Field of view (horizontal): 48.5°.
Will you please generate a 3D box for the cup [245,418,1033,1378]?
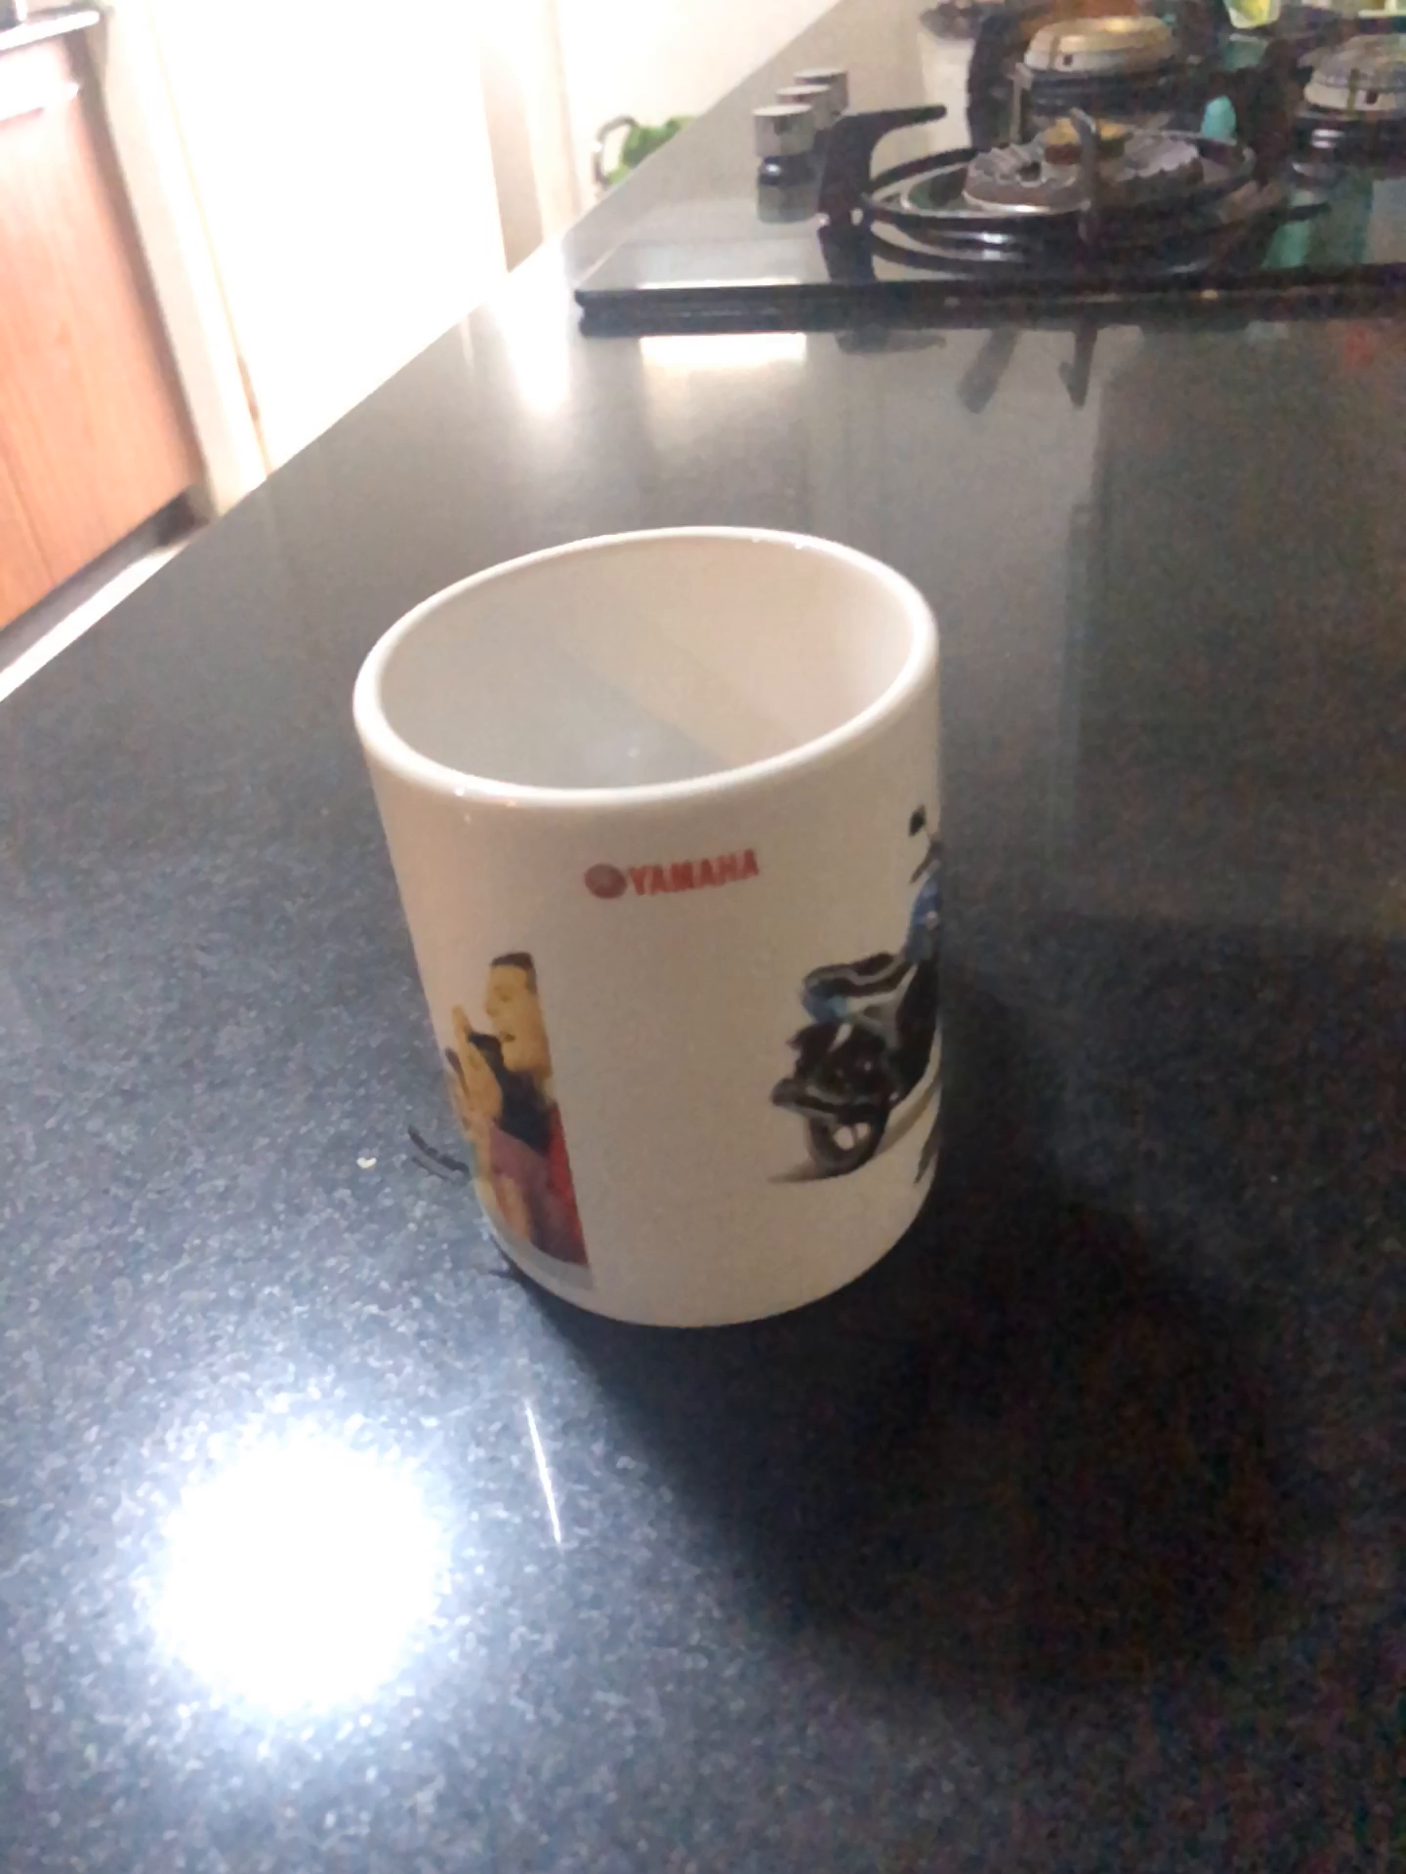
[{"bbox_3d":[0.003,-0.015,0.258,0.080,0.099,0.121,7,38,17],"label":"cup"}]
